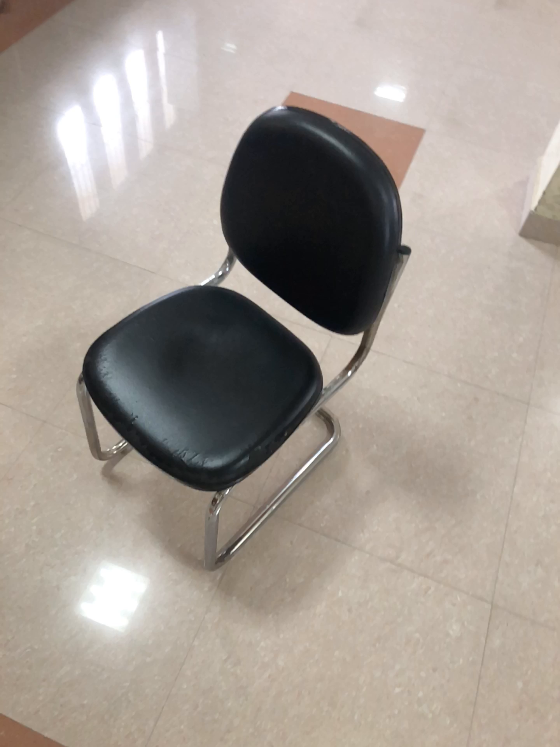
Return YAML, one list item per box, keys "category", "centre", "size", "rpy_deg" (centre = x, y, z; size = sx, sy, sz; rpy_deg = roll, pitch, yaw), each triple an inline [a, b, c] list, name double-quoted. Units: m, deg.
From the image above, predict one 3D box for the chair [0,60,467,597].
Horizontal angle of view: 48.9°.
- category: "chair"
  centre: [-0.108, -0.055, 1.239]
  size: [0.500, 0.758, 0.591]
  rpy_deg: [37, 60, 20]
